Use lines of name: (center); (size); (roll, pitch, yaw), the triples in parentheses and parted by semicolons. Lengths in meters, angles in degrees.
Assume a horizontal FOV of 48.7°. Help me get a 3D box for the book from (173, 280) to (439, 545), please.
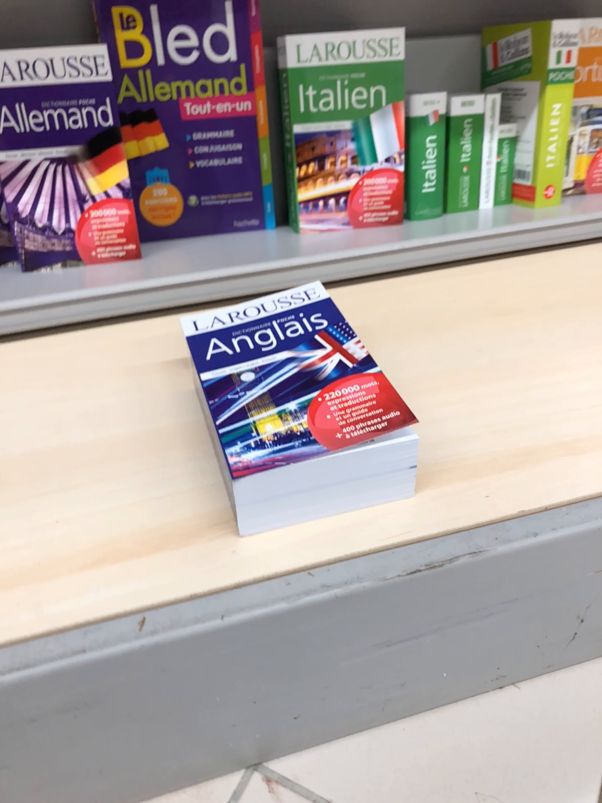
book: (-0.008, -0.006, 0.431); (0.117, 0.054, 0.182); (-10, 39, -14)
